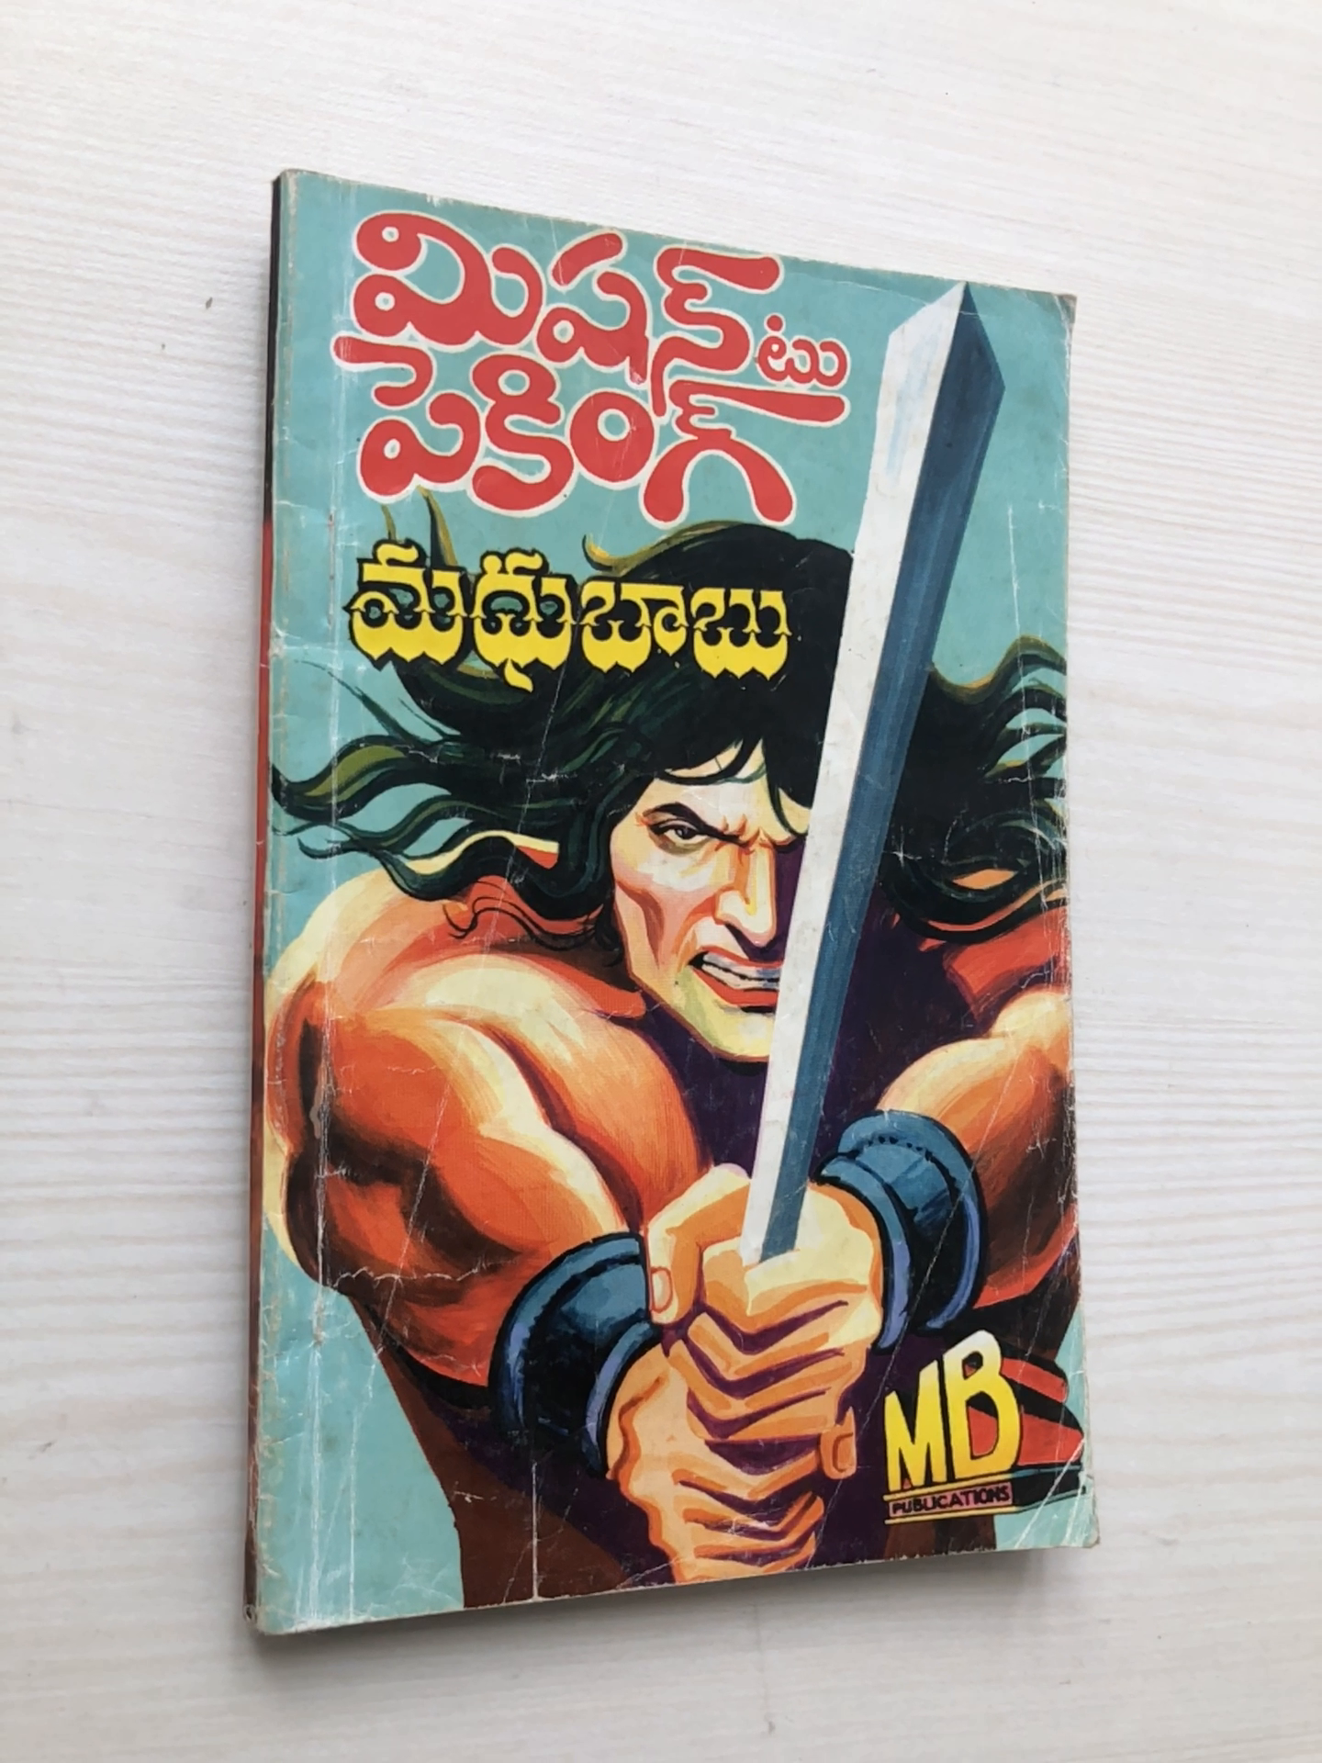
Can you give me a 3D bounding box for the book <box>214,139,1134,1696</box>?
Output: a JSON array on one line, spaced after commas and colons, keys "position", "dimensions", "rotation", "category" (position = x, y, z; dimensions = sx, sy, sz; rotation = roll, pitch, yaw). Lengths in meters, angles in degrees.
[{"position": [0.002, 0.003, 0.172], "dimensions": [0.100, 0.030, 0.150], "rotation": [1, 87, -17], "category": "book"}]
